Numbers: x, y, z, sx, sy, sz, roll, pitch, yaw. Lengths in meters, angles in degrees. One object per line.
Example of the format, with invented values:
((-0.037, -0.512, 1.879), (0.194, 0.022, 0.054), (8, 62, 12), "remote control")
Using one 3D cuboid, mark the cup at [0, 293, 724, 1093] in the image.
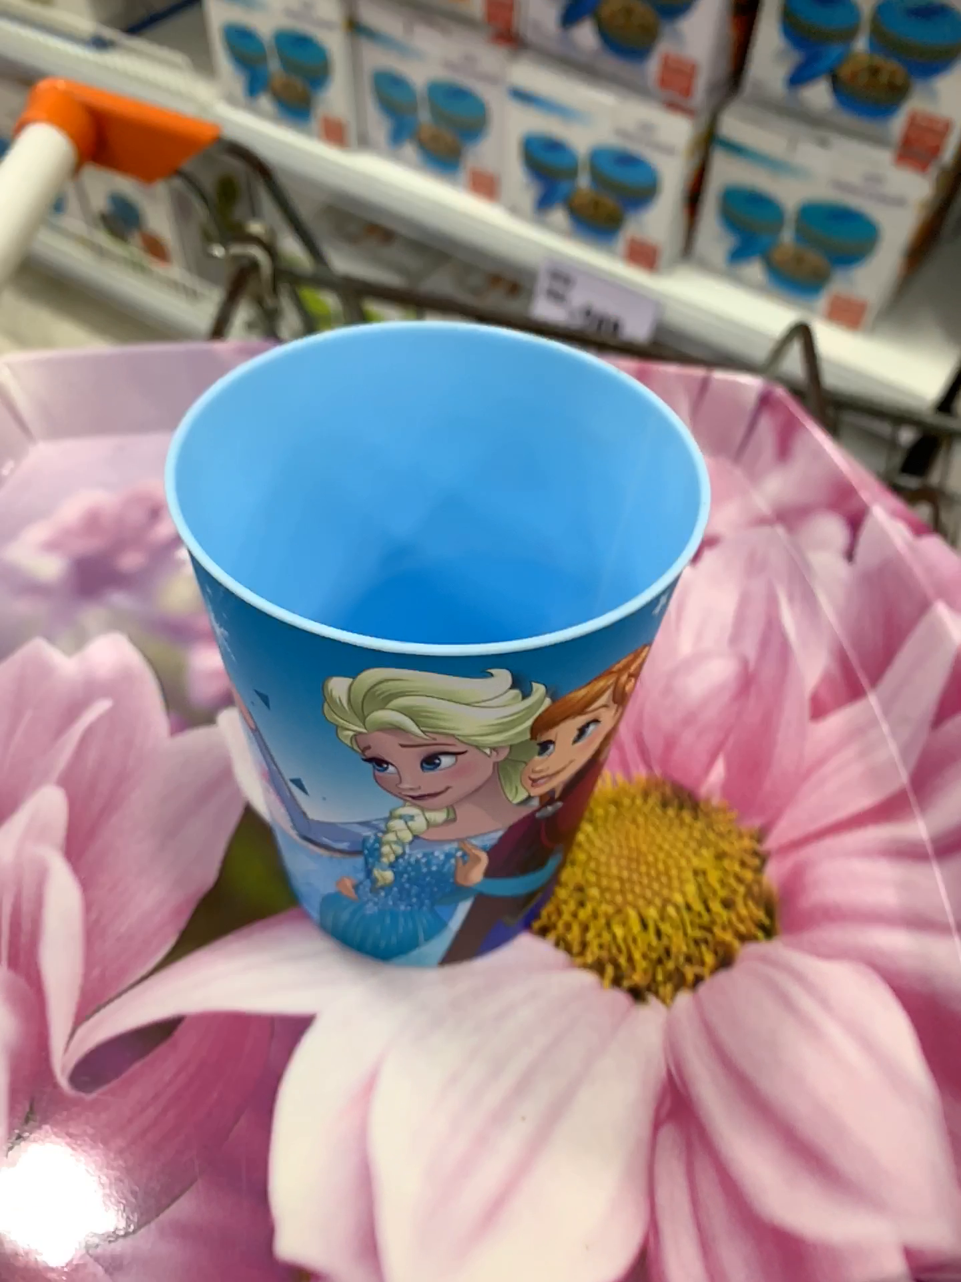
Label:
((-0.016, 0.015, 0.172), (0.080, 0.109, 0.060), (19, 52, 13), "cup")
